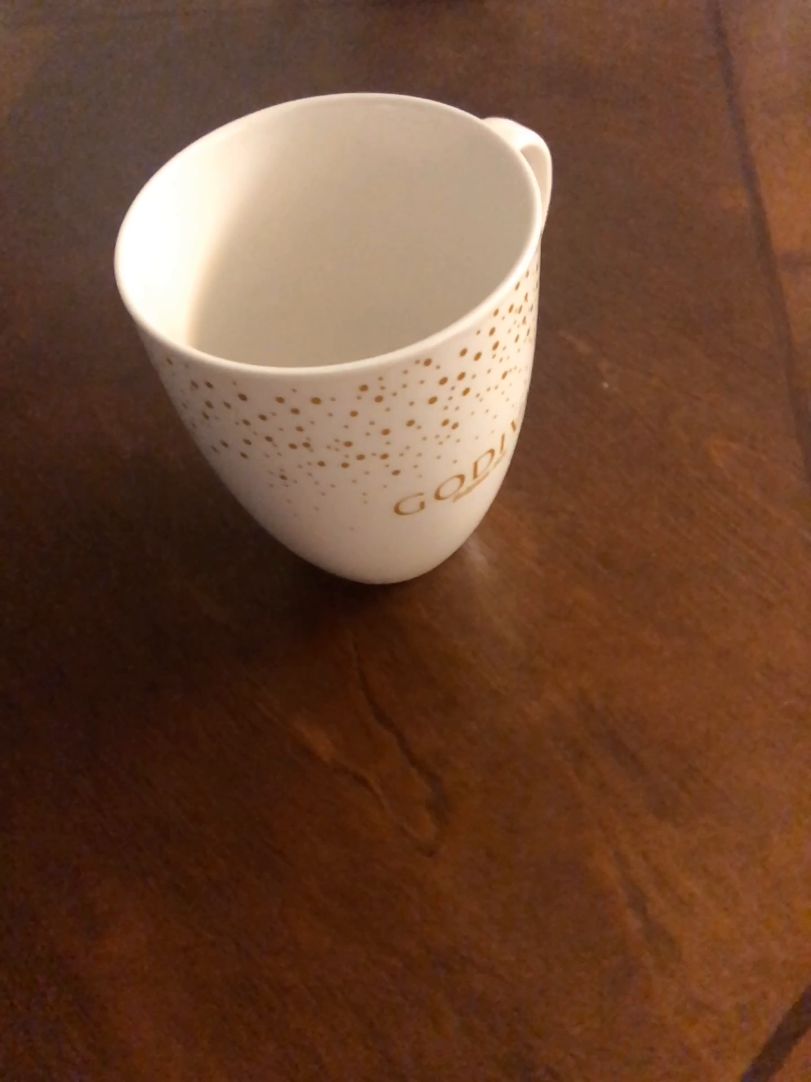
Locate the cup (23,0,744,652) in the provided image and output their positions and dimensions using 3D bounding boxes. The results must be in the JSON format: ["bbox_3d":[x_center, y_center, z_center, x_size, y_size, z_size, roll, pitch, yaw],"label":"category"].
[{"bbox_3d":[0.001,-0.069,0.250,0.100,0.099,0.140,34,66,24],"label":"cup"}]
